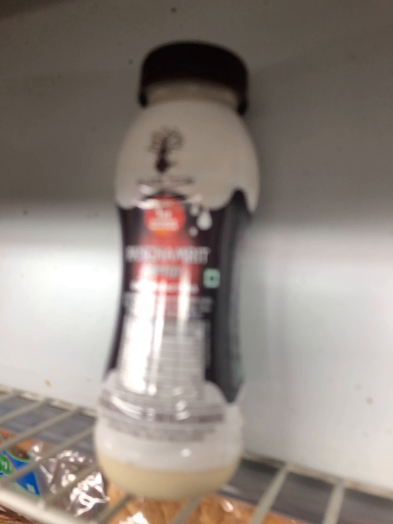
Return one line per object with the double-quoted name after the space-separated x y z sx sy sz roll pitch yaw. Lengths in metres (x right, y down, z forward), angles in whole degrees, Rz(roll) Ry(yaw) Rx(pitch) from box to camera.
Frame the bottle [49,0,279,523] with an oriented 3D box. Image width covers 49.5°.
-0.005 -0.008 0.158 0.060 0.060 0.160 2 87 15 "bottle"
